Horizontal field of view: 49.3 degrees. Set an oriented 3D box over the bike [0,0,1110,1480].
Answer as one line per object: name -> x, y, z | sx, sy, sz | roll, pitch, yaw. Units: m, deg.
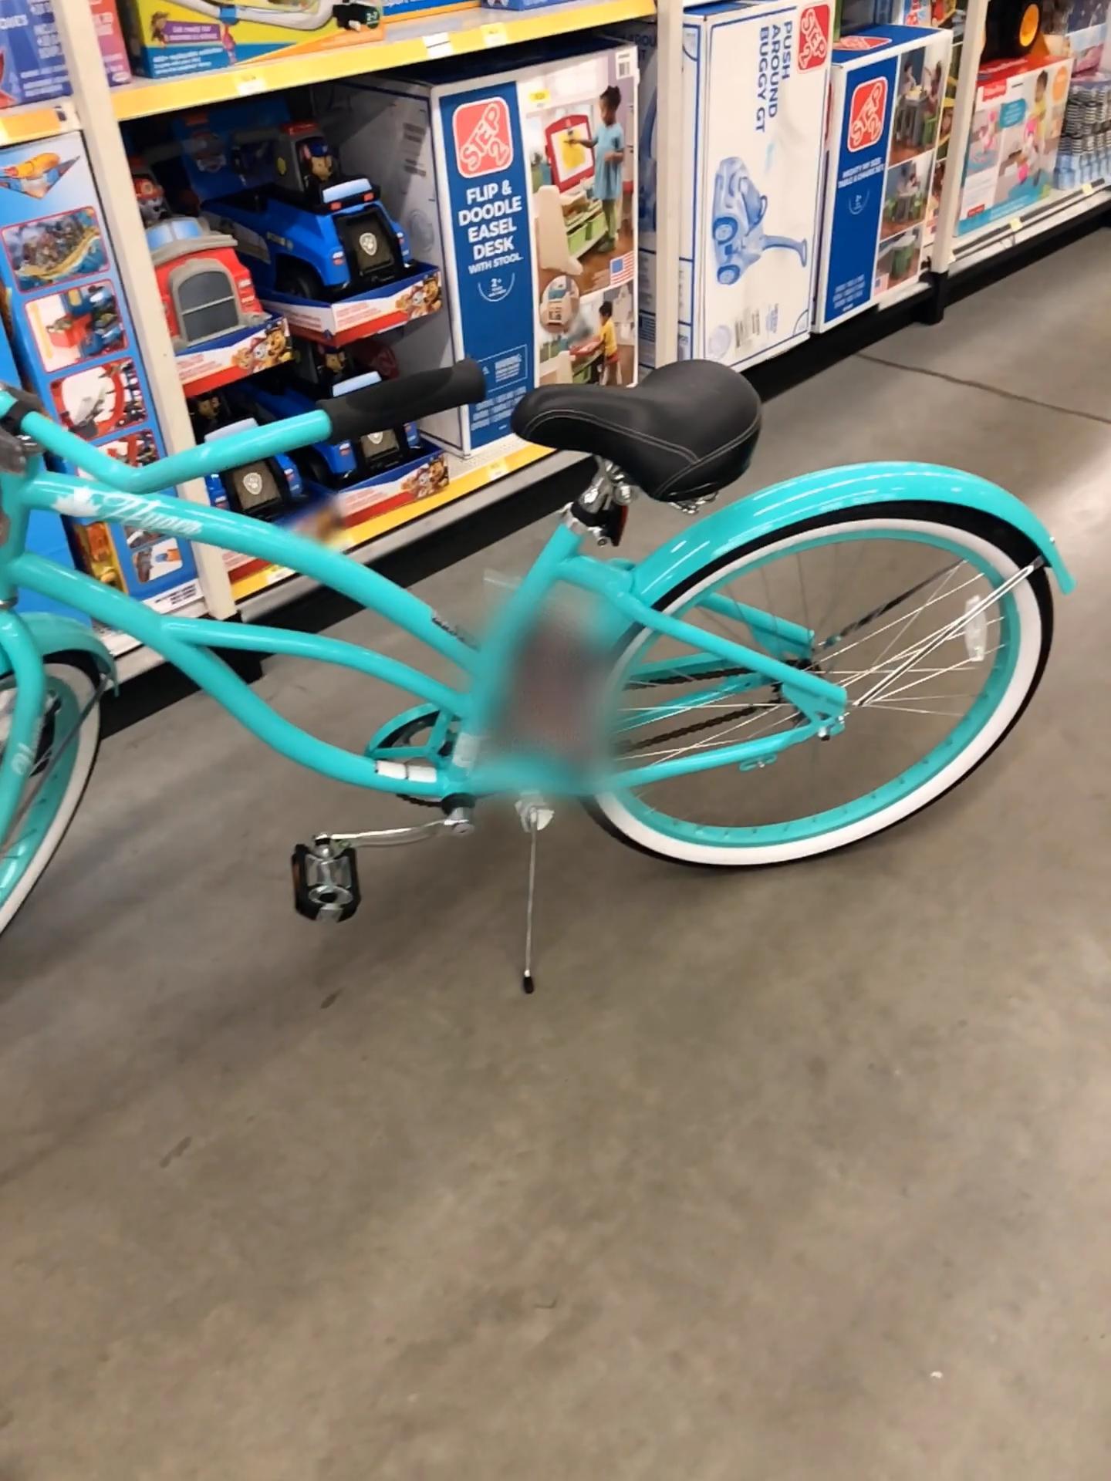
bike -> -0.156, -0.036, 1.206 | 1.492, 1.143, 0.762 | -18, 40, -13
